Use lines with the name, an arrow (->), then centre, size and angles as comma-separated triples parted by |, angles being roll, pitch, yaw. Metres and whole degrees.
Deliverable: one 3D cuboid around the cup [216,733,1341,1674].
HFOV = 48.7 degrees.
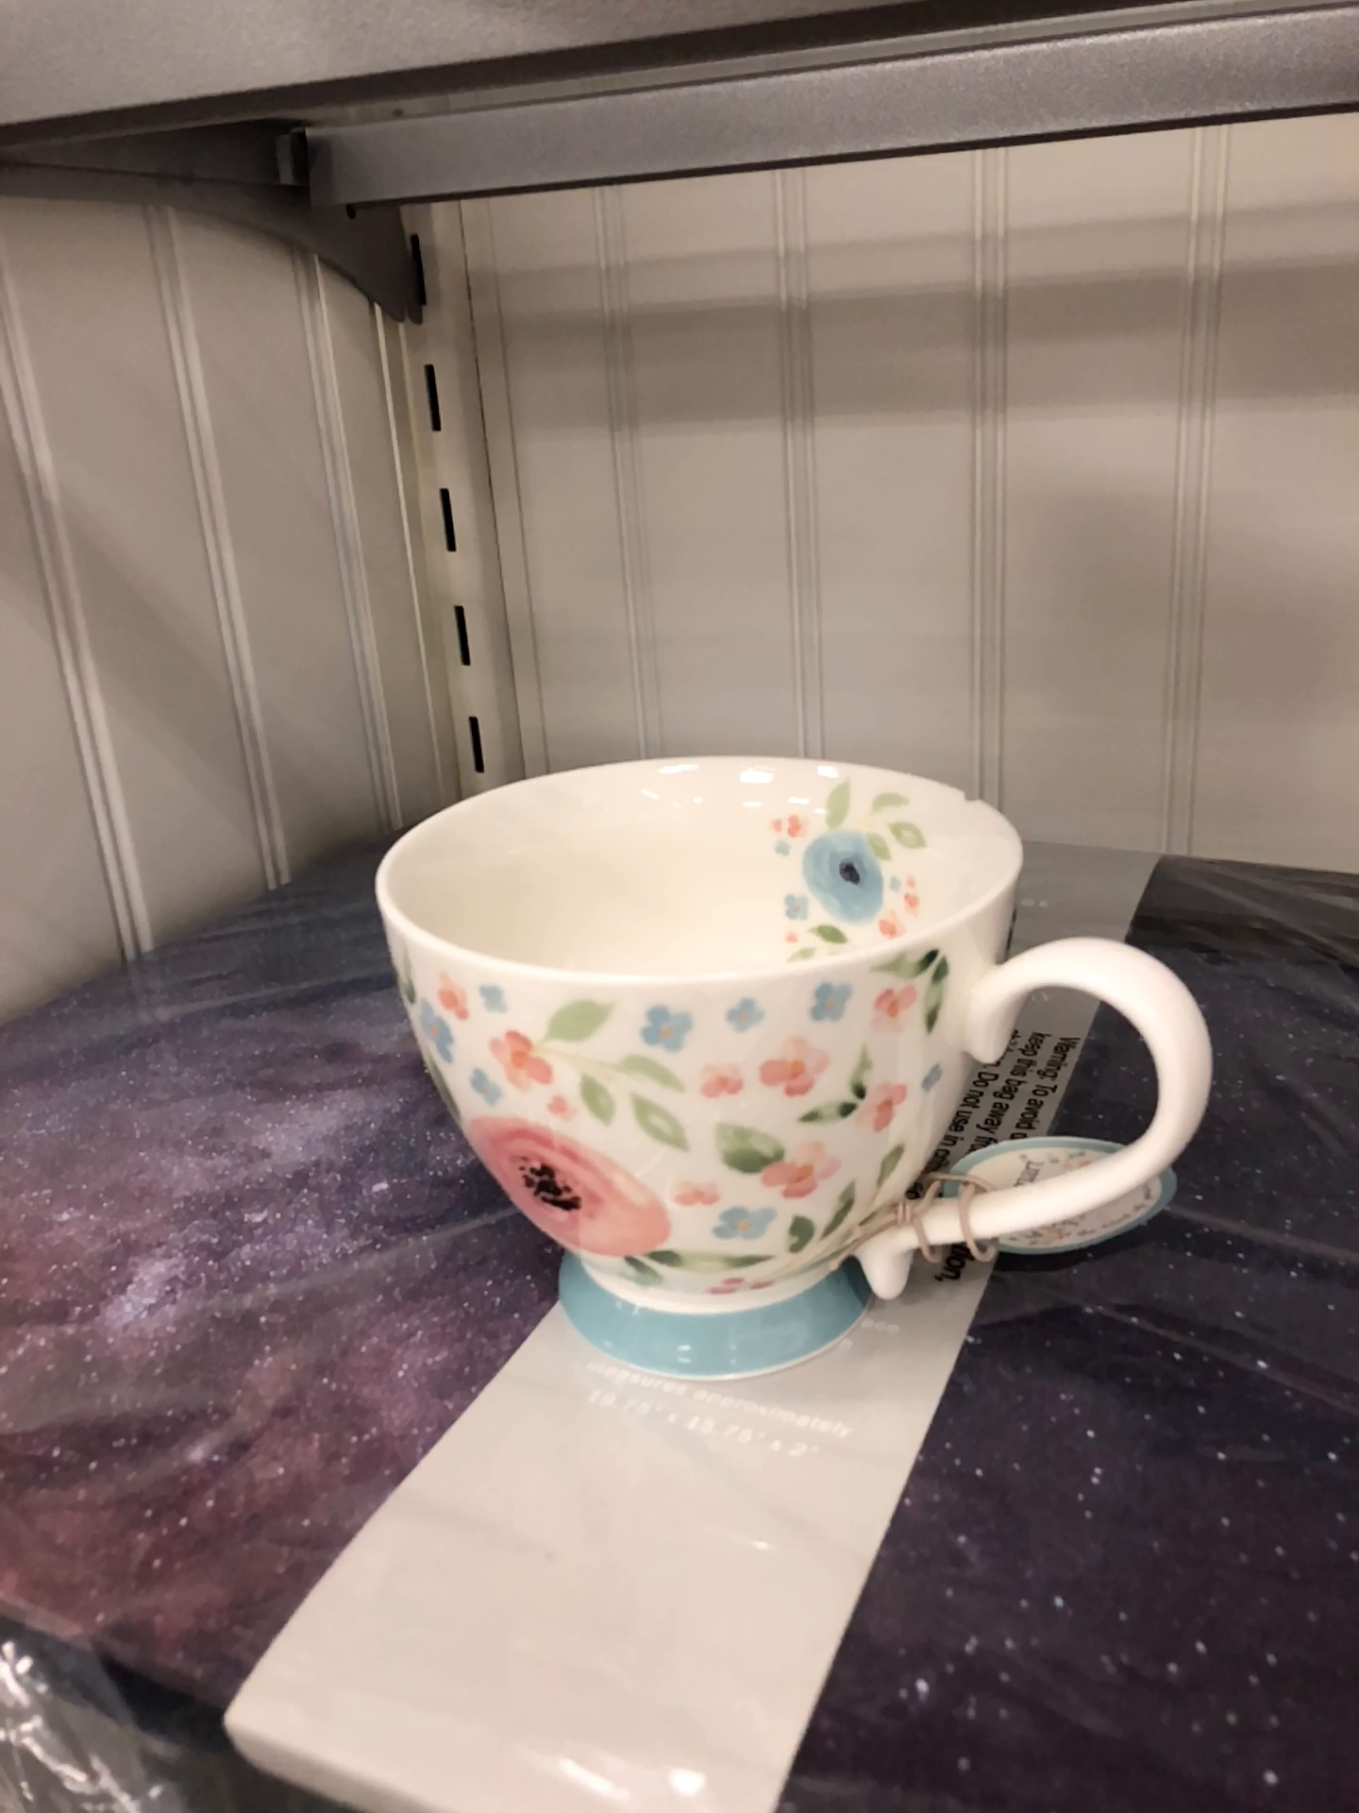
cup -> 0.018, 0.030, 0.262 | 0.150, 0.079, 0.110 | 12, 26, 35
